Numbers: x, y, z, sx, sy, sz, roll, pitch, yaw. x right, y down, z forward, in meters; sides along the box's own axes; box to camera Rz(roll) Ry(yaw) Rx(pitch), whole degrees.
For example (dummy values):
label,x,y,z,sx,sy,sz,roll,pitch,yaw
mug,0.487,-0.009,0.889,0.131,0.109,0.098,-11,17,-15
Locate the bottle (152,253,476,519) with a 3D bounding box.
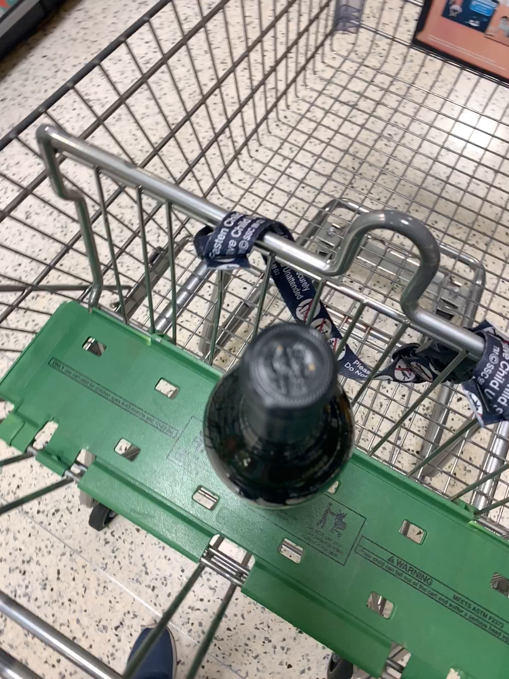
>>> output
label,x,y,z,sx,sy,sz,roll,pitch,yaw
bottle,0.016,0.059,0.287,0.080,0.309,0.070,1,71,1
